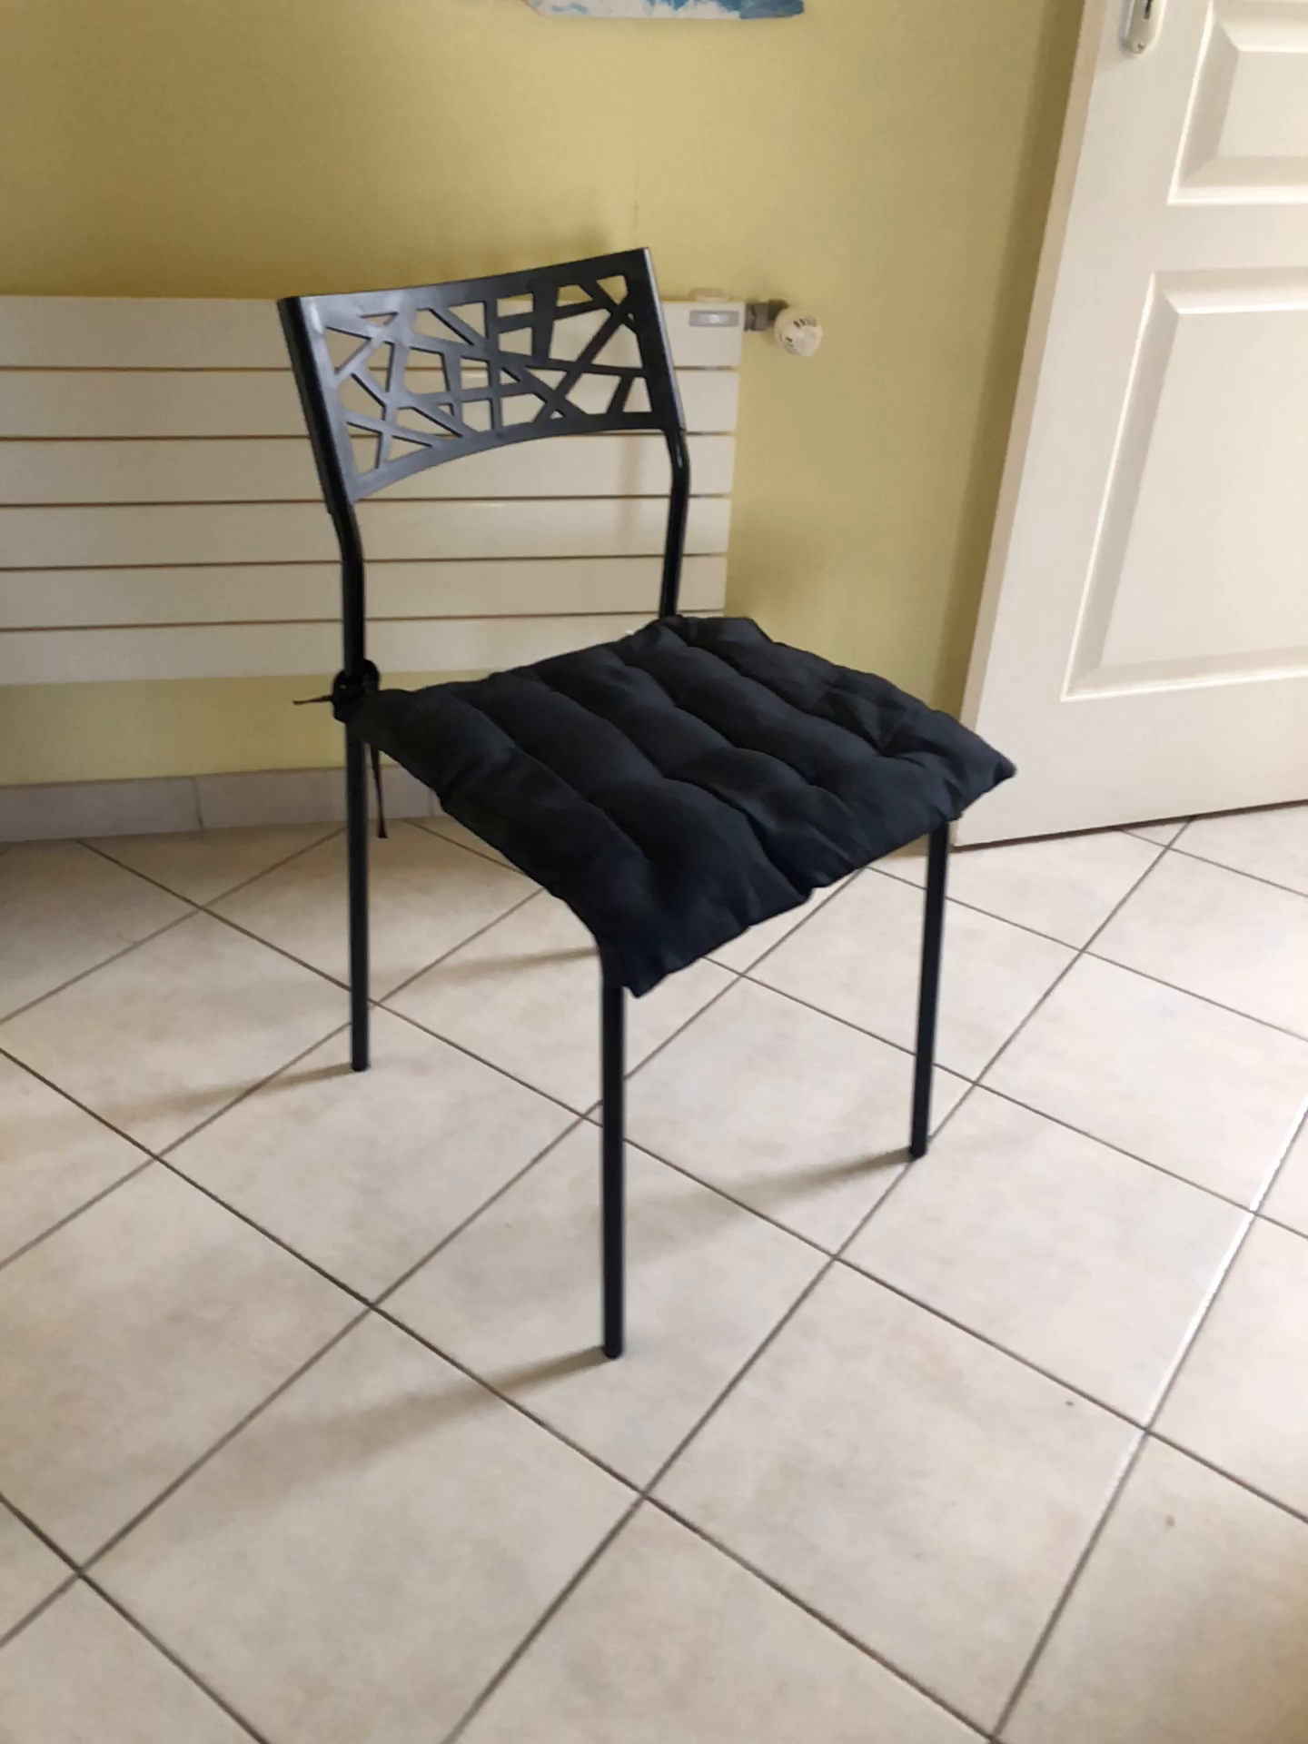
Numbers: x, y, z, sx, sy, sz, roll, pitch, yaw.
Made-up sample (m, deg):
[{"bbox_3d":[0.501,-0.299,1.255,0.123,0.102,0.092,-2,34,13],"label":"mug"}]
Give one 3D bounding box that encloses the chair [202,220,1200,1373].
[{"bbox_3d":[0.017,-0.108,1.255,0.523,0.735,0.521,-24,42,-34],"label":"chair"}]
